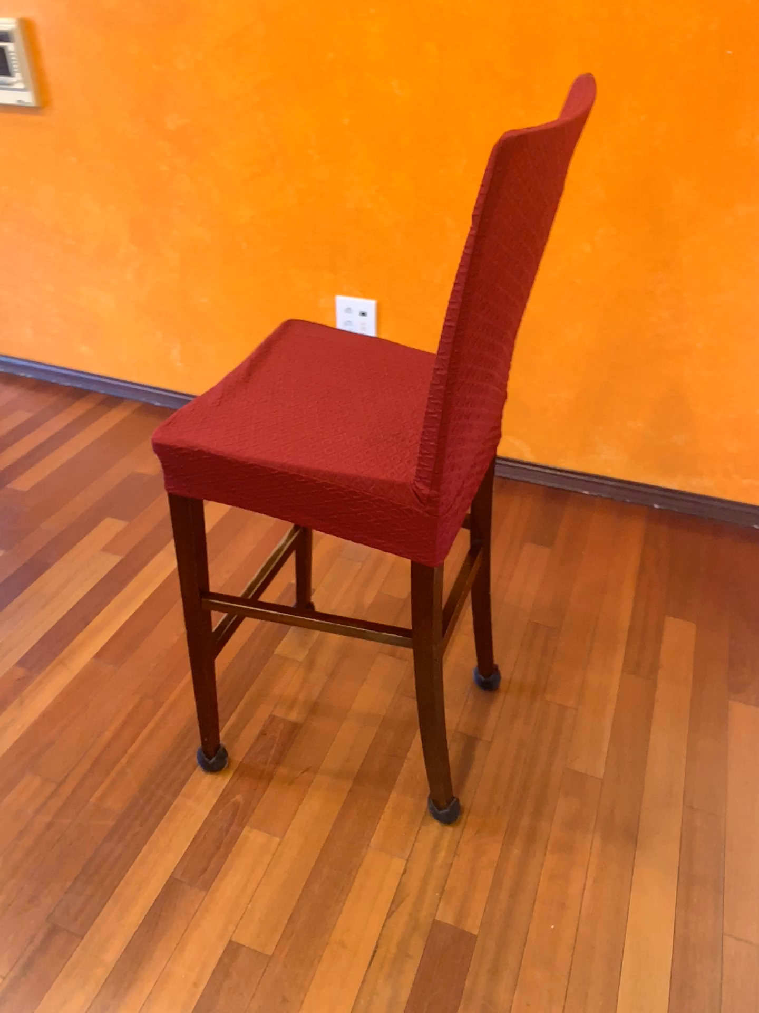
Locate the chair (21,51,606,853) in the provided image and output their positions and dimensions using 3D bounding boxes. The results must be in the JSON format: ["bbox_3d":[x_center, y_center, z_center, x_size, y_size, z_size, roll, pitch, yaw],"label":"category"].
[{"bbox_3d":[-0.044,-0.061,1.181,0.512,1.027,0.465,13,37,16],"label":"chair"}]
